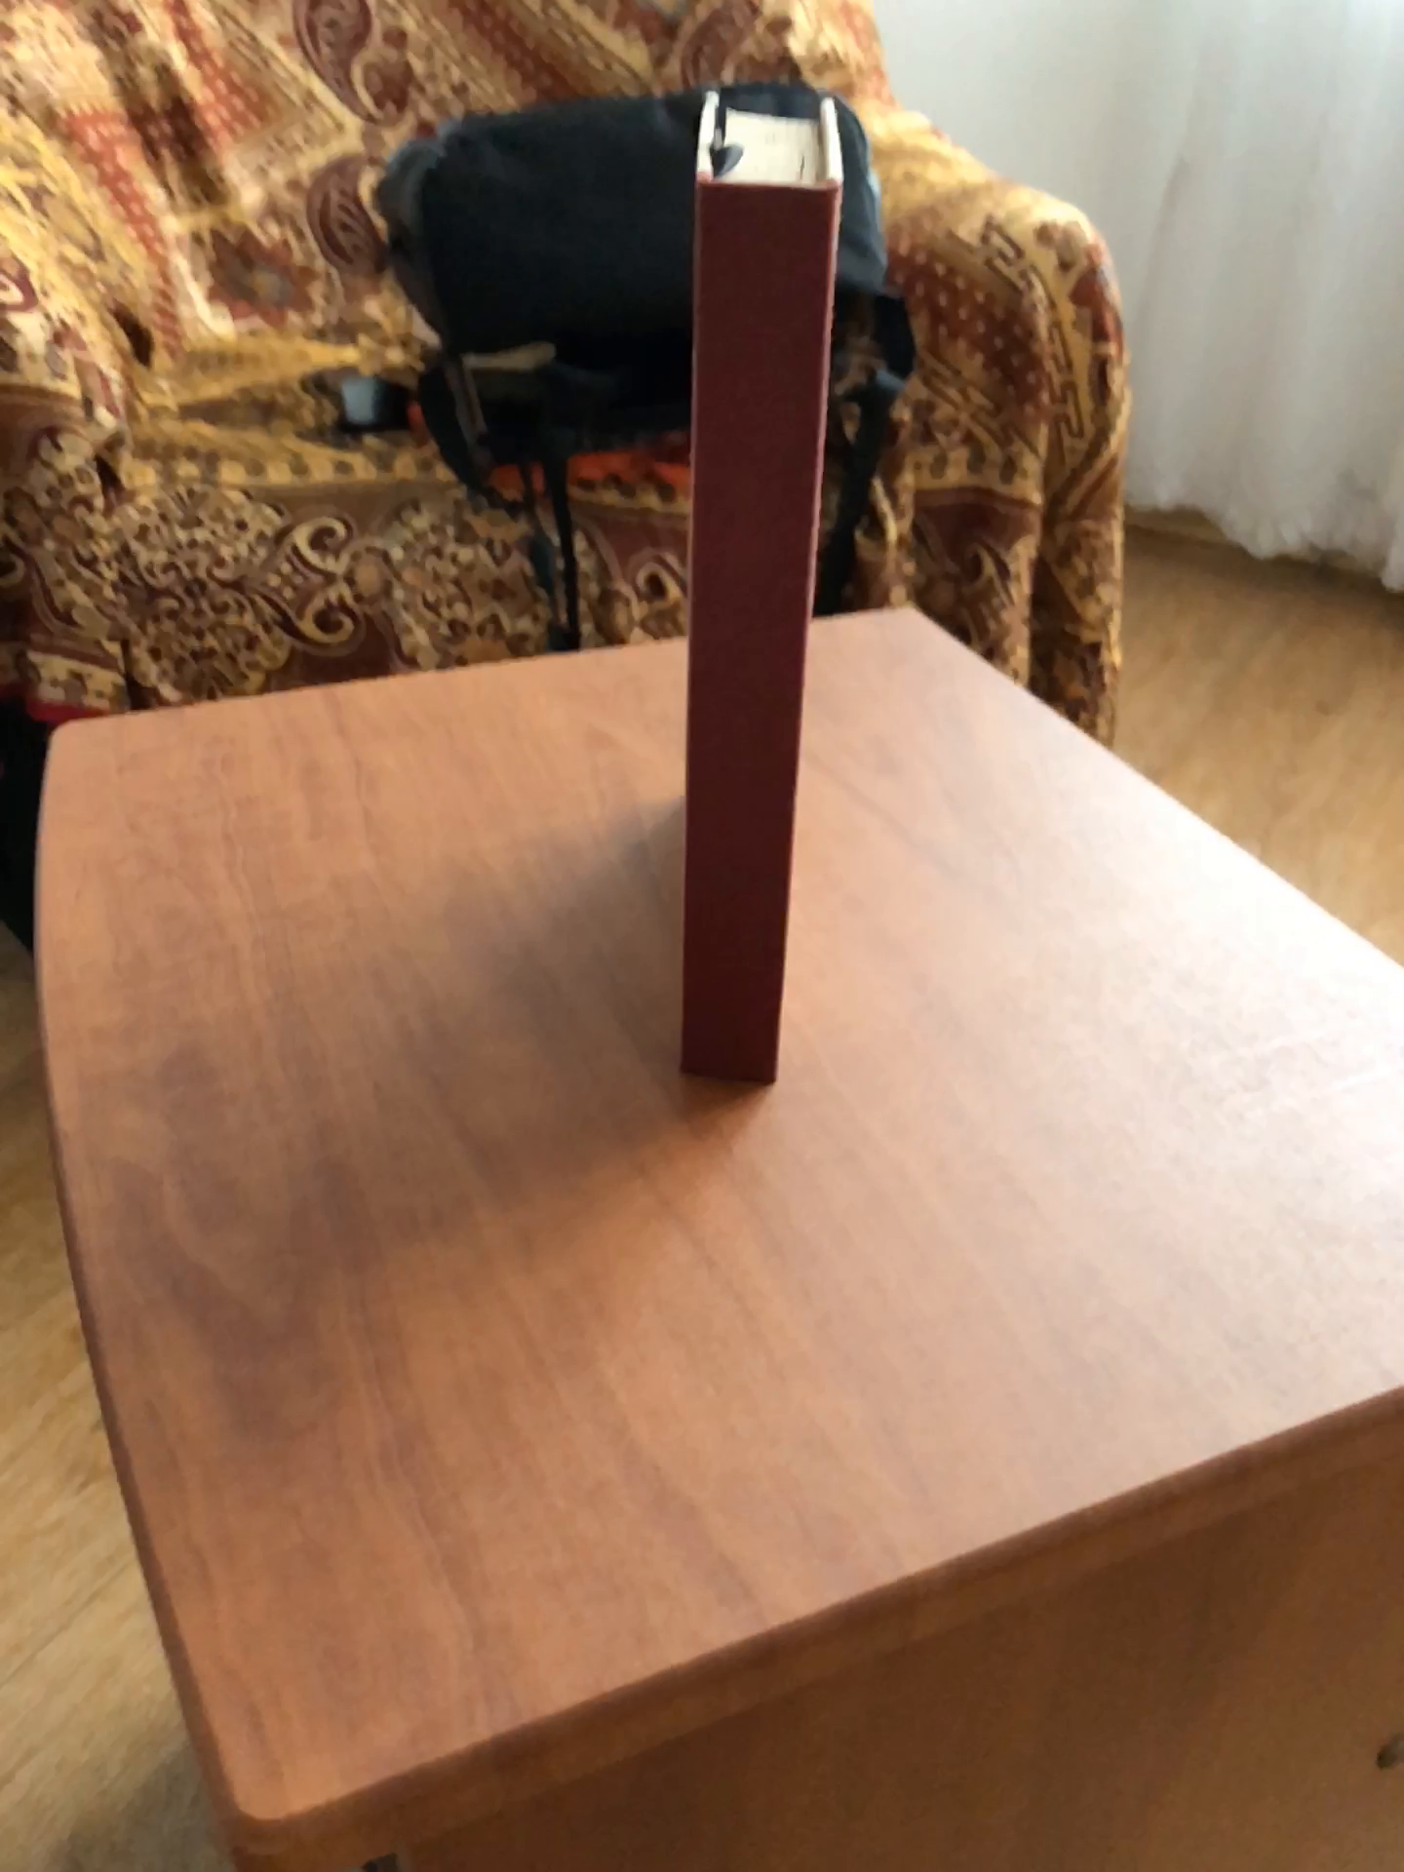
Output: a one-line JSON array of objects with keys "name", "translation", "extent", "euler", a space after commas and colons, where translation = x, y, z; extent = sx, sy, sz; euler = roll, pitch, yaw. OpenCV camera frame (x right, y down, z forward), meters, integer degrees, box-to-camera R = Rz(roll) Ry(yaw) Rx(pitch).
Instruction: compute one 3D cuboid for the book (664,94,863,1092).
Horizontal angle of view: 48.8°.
[{"name": "book", "translation": [0.013, -0.092, 0.405], "extent": [0.032, 0.212, 0.155], "euler": [3, 33, 1]}]
